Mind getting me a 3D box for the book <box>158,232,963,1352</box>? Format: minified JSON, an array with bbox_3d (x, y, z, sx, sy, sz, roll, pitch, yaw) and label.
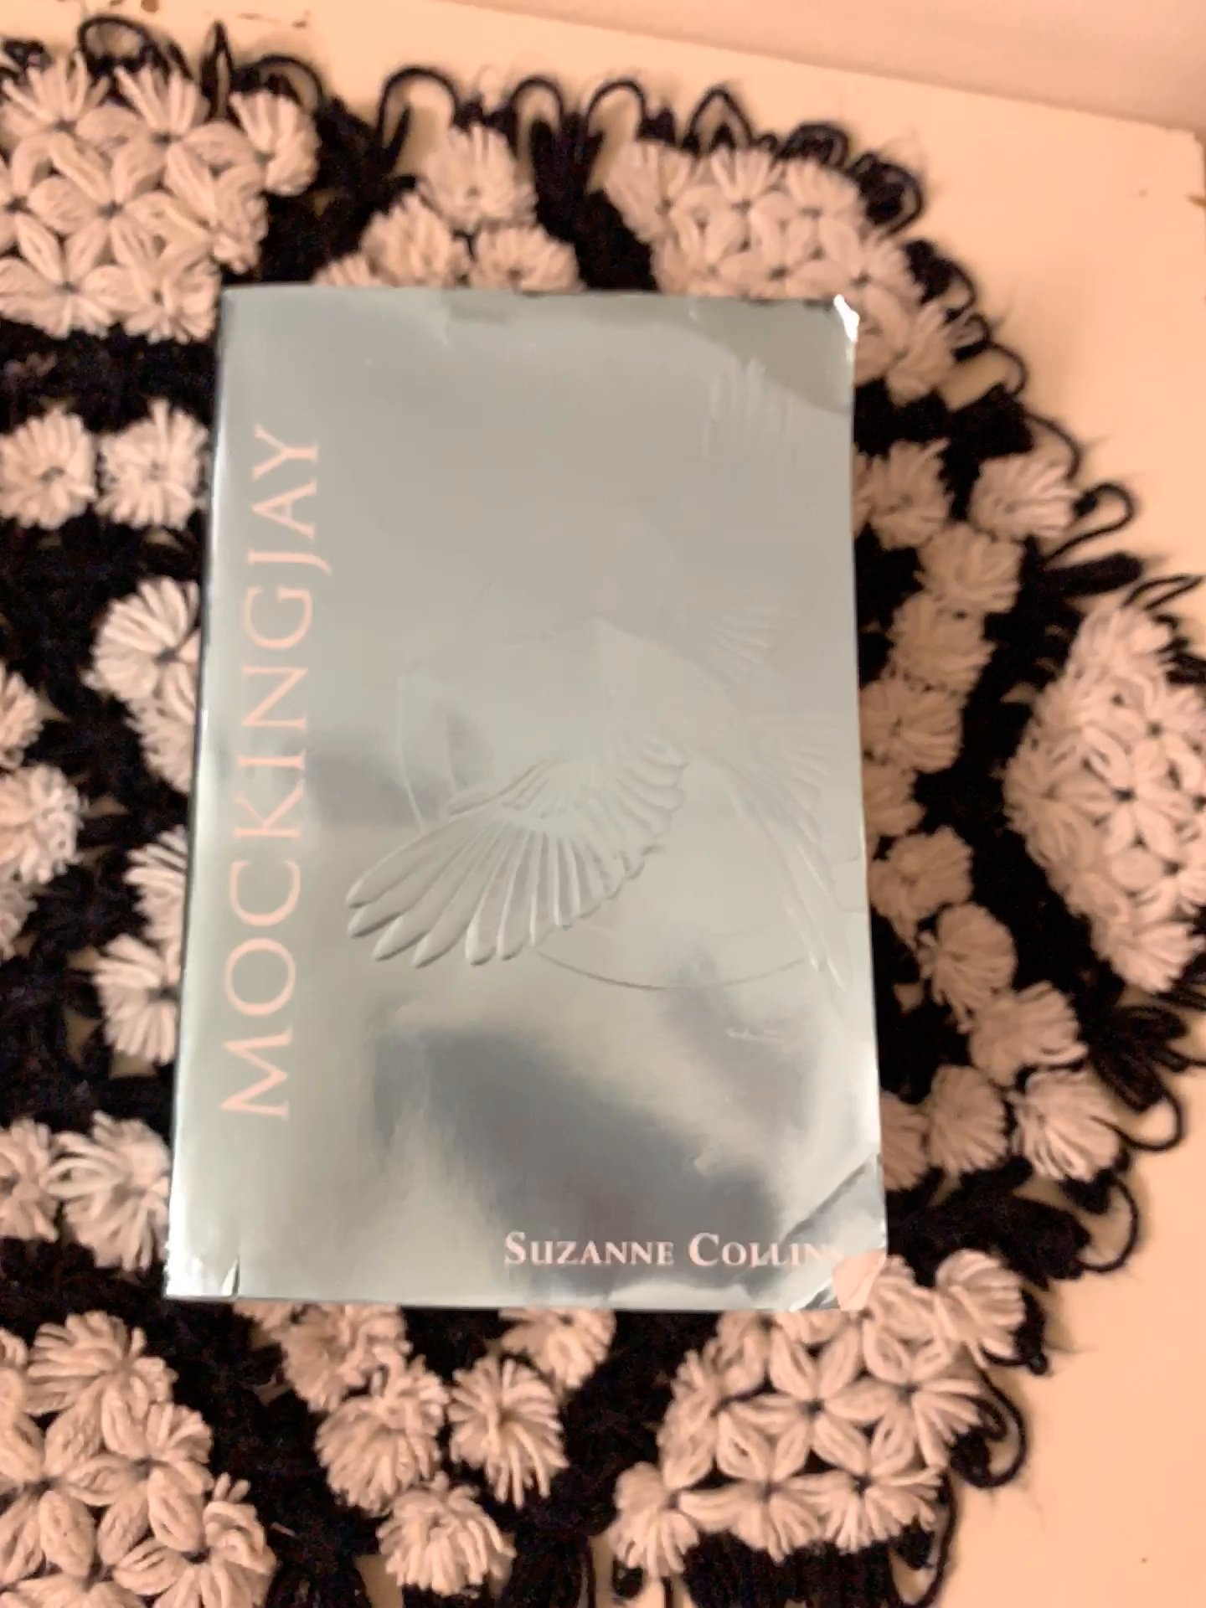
[{"bbox_3d":[-0.007,-0.005,0.245,0.136,0.036,0.193,1,80,-11],"label":"book"}]
